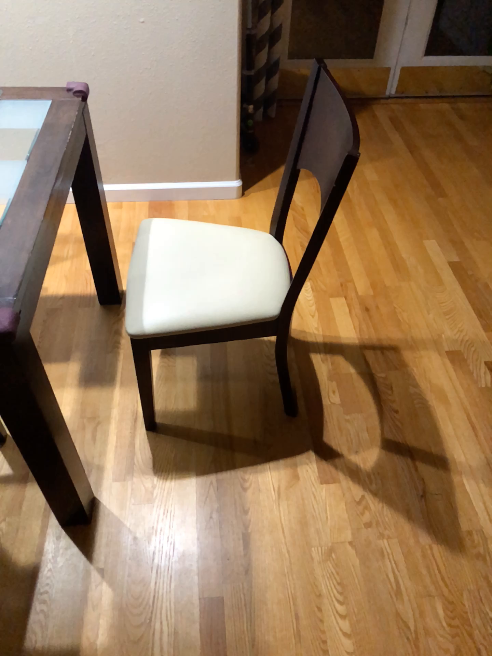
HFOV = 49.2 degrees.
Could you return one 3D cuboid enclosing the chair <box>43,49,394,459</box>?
[{"bbox_3d":[-0.082,-0.150,1.508,0.640,1.004,0.503,-5,46,-6],"label":"chair"}]
